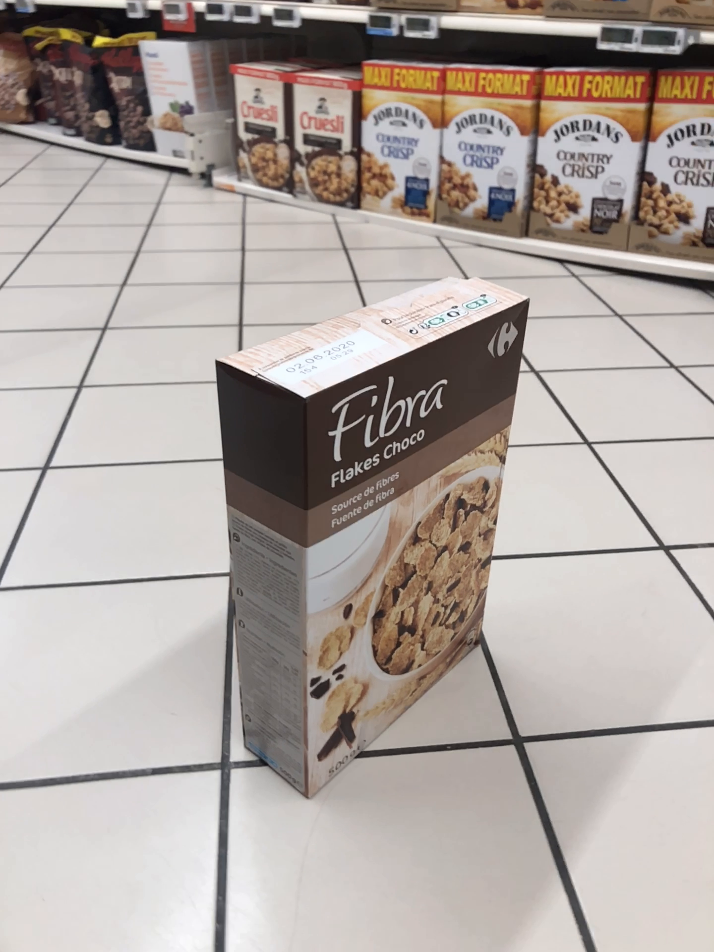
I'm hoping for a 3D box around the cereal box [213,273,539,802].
[{"bbox_3d":[0.016,0.036,0.508,0.070,0.278,0.201,25,39,32],"label":"cereal box"}]
